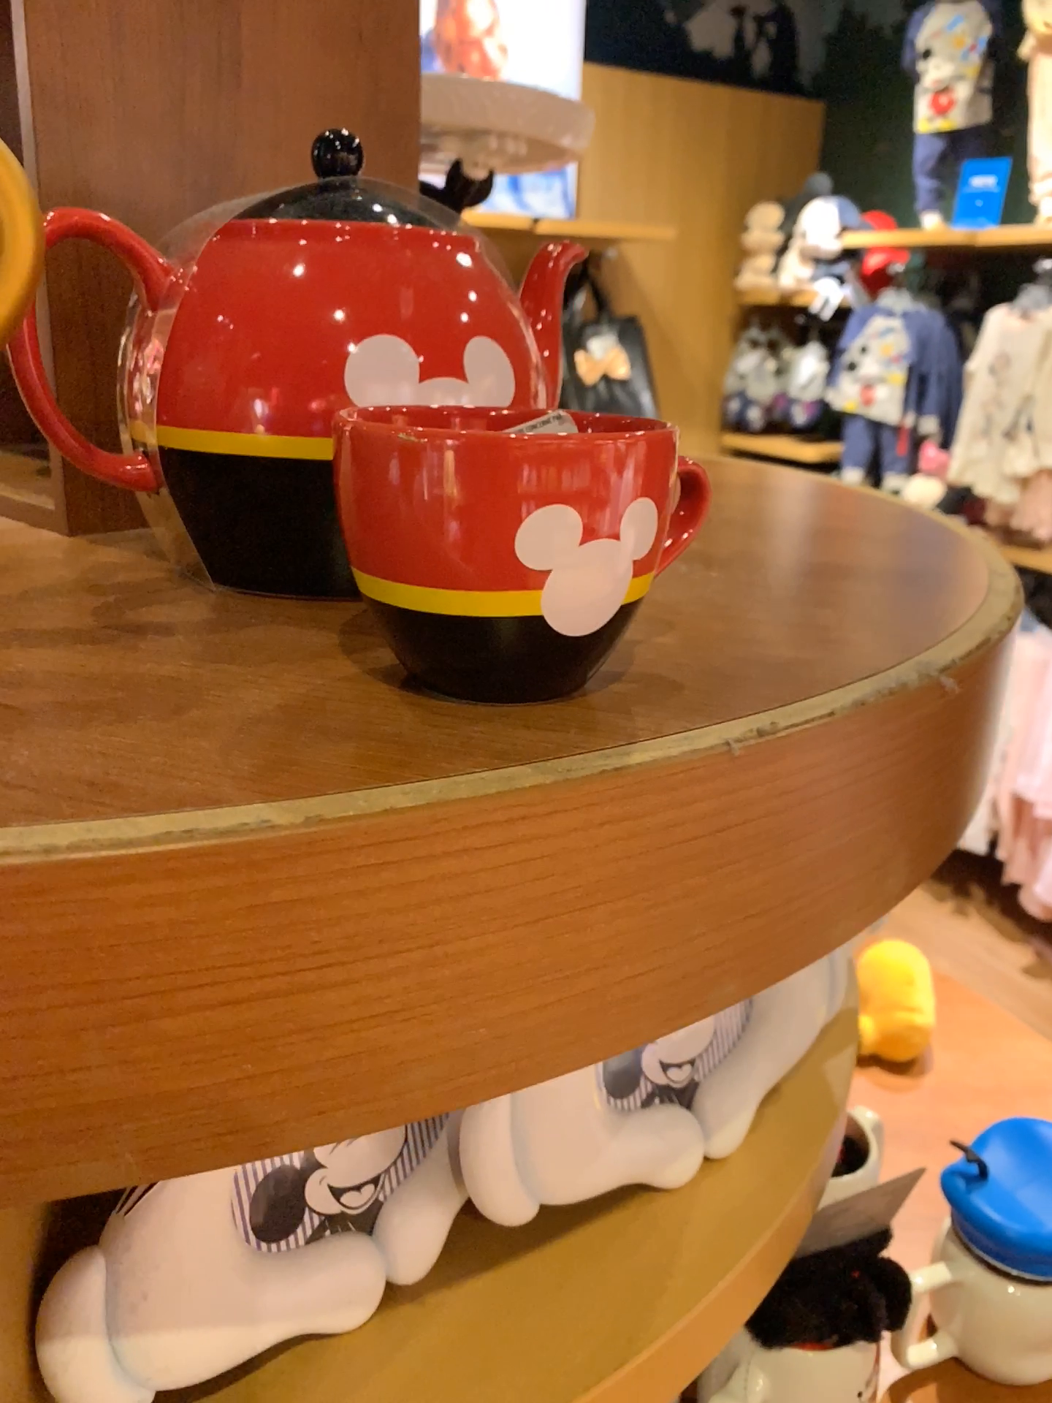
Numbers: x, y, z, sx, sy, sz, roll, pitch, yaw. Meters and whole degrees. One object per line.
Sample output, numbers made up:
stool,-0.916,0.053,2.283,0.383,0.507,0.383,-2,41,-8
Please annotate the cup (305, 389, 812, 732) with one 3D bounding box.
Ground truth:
cup,0.004,-0.043,0.279,0.100,0.065,0.078,-8,21,-27
